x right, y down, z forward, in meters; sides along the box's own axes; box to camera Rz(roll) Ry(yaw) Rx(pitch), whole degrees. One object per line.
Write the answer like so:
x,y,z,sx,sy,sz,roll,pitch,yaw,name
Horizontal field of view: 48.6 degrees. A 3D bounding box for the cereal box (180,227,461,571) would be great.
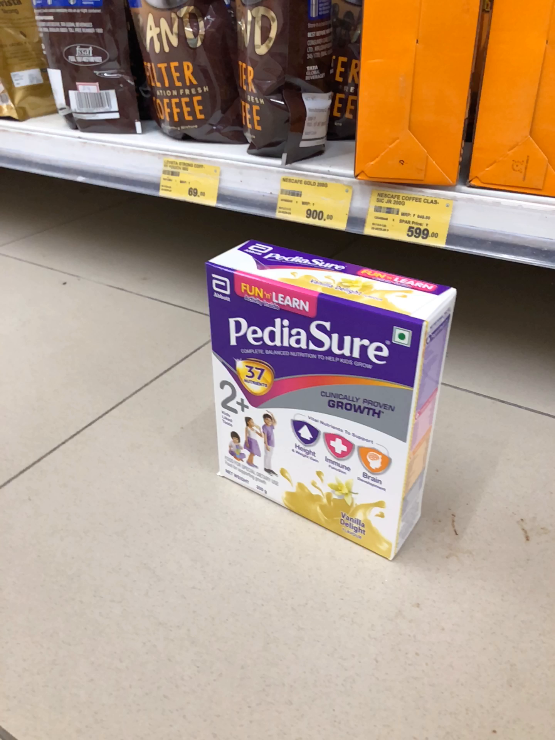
0.019,0.014,0.359,0.140,0.159,0.050,20,37,30,cereal box
